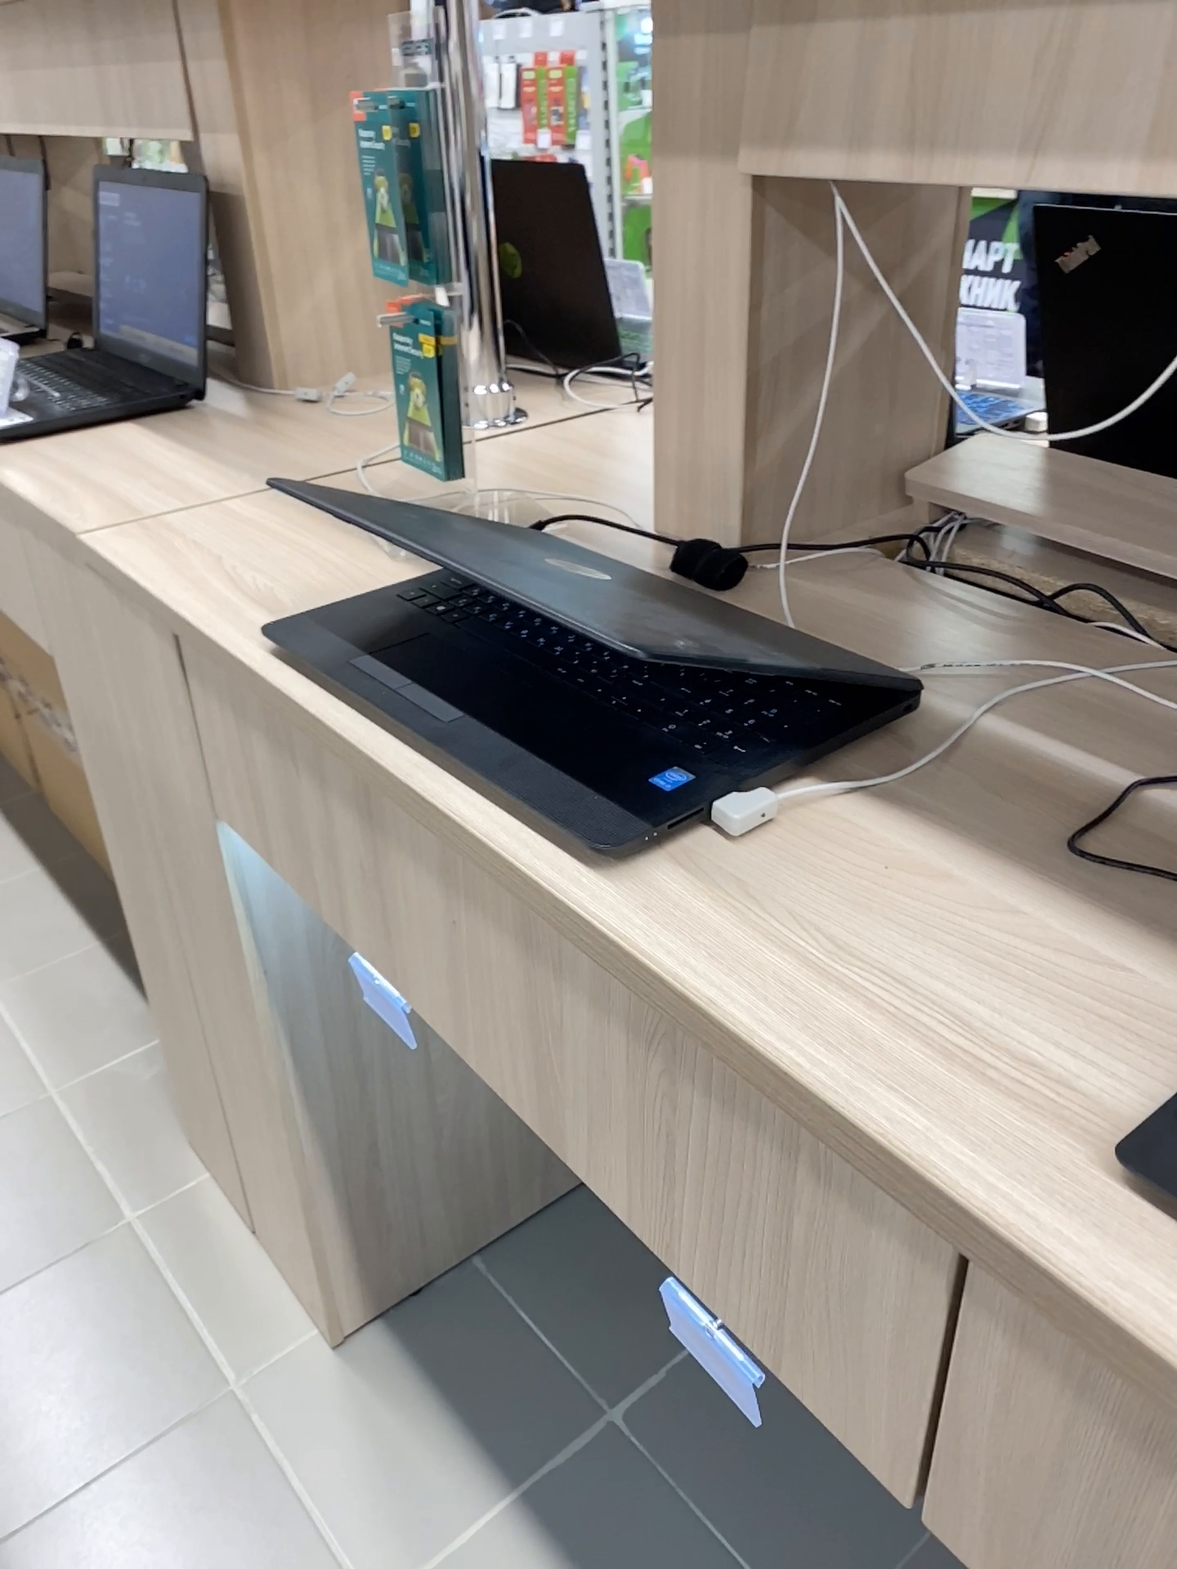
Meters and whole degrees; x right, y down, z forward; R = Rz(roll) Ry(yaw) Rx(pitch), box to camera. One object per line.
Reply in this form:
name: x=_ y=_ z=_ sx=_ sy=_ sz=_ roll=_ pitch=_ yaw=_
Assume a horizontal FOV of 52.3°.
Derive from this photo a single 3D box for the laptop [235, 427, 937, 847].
laptop: x=-0.017 y=-0.123 z=0.757 sx=0.251 sy=0.093 sz=0.374 roll=-24 pitch=37 yaw=-32
